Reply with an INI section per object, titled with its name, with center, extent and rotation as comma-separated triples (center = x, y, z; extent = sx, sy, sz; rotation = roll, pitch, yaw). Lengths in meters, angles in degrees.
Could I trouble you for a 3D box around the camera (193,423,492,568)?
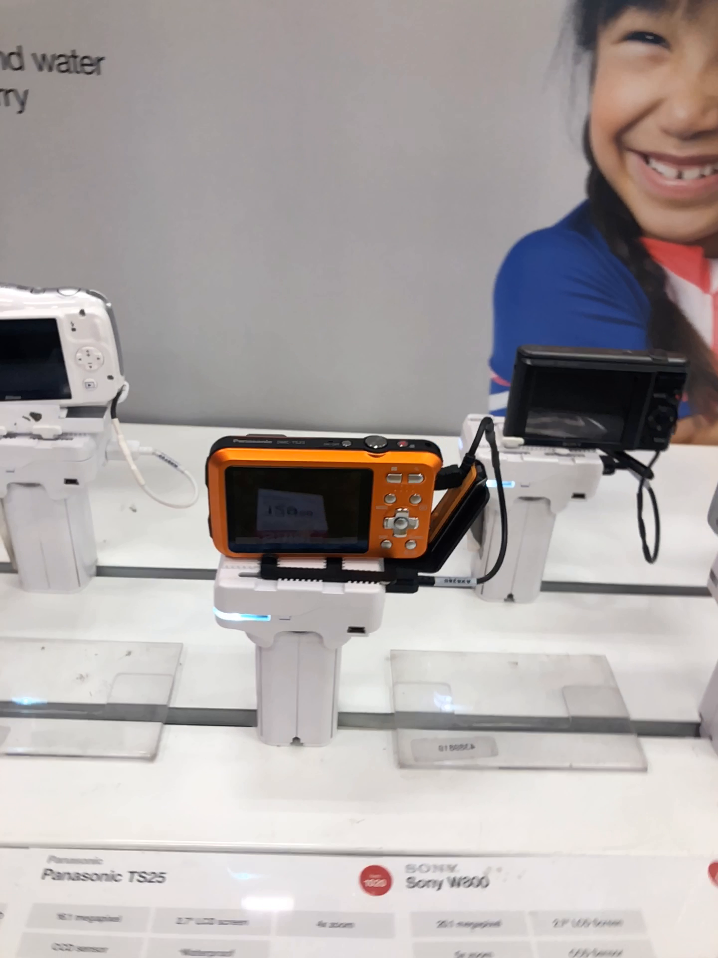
[camera]
center = -0.008, 0.008, 0.344
extent = 0.120, 0.060, 0.020
rotation = 1, 33, -4
